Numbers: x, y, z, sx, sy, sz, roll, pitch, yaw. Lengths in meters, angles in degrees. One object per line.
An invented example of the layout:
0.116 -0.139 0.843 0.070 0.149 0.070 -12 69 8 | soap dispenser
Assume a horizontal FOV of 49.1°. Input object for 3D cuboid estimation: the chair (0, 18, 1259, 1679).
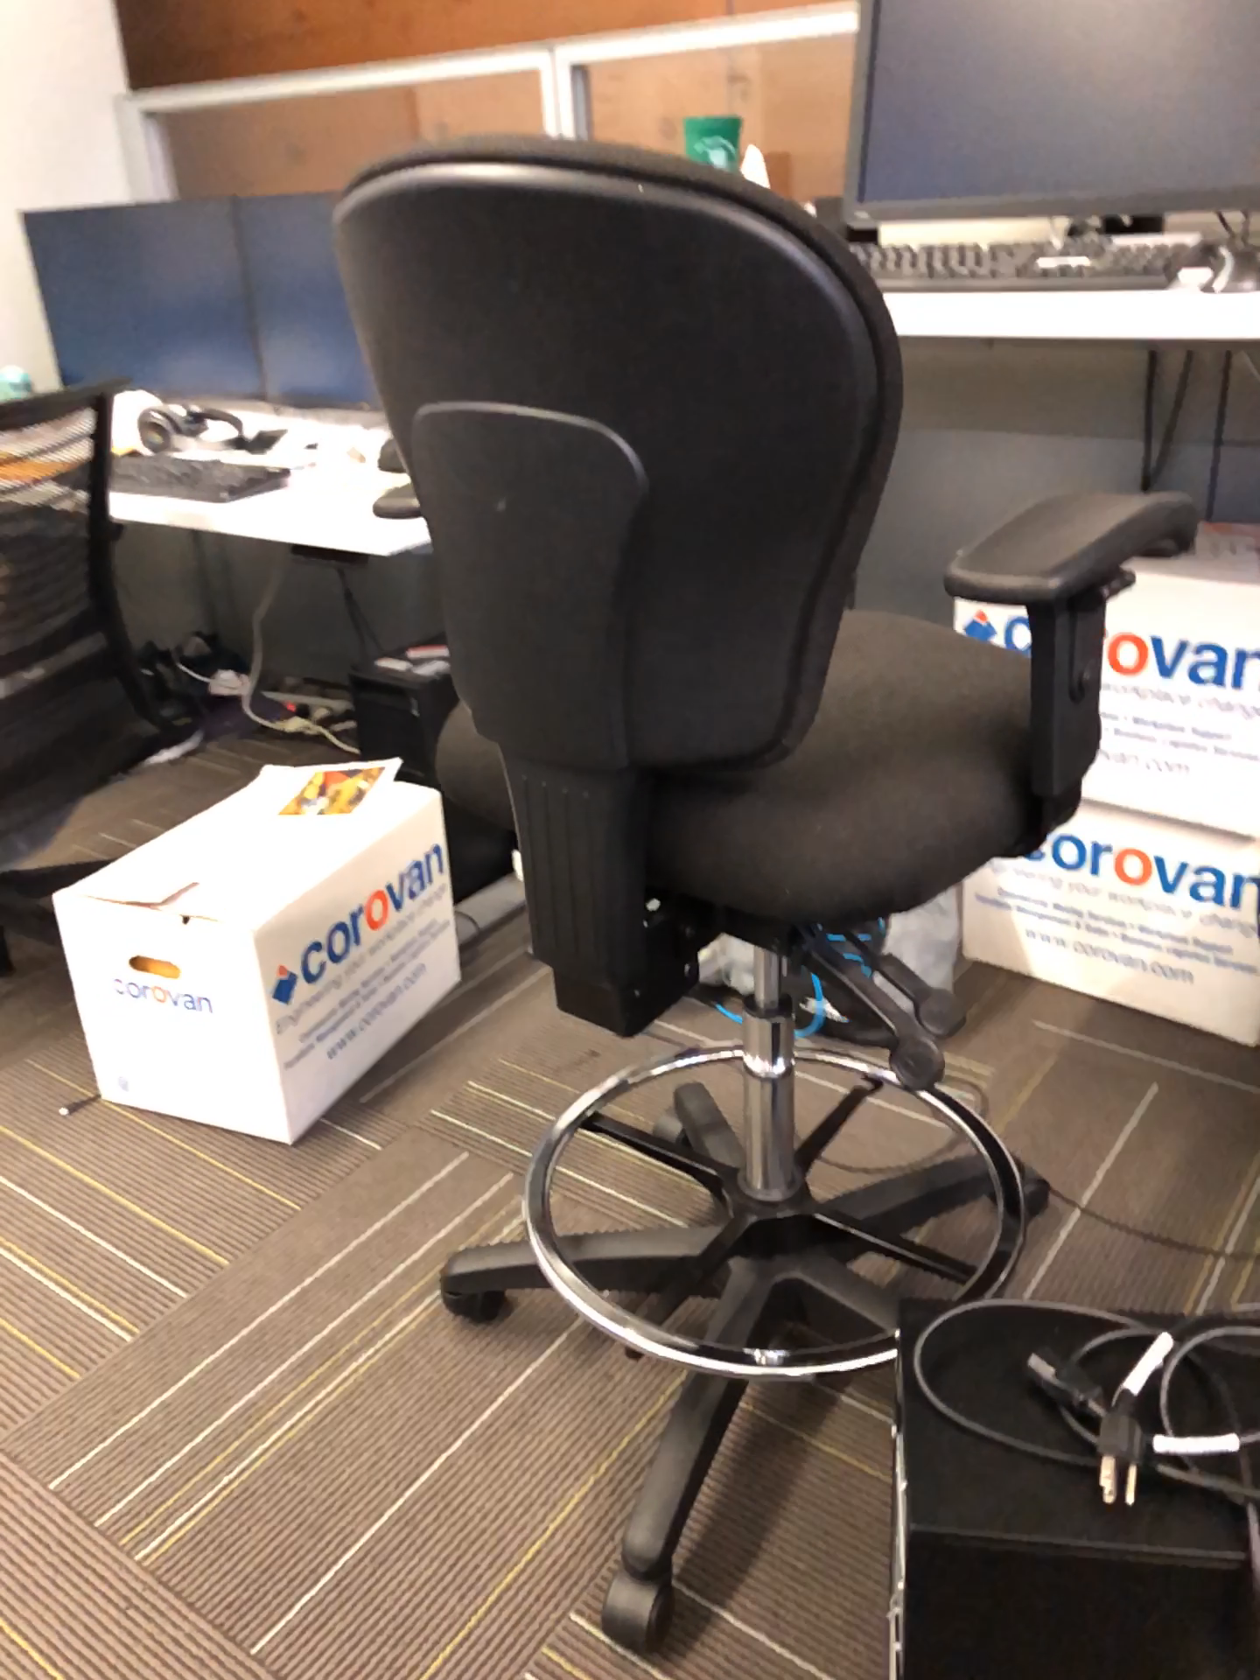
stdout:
0.076 -0.048 1.285 0.892 1.104 0.963 14 30 33 | chair
